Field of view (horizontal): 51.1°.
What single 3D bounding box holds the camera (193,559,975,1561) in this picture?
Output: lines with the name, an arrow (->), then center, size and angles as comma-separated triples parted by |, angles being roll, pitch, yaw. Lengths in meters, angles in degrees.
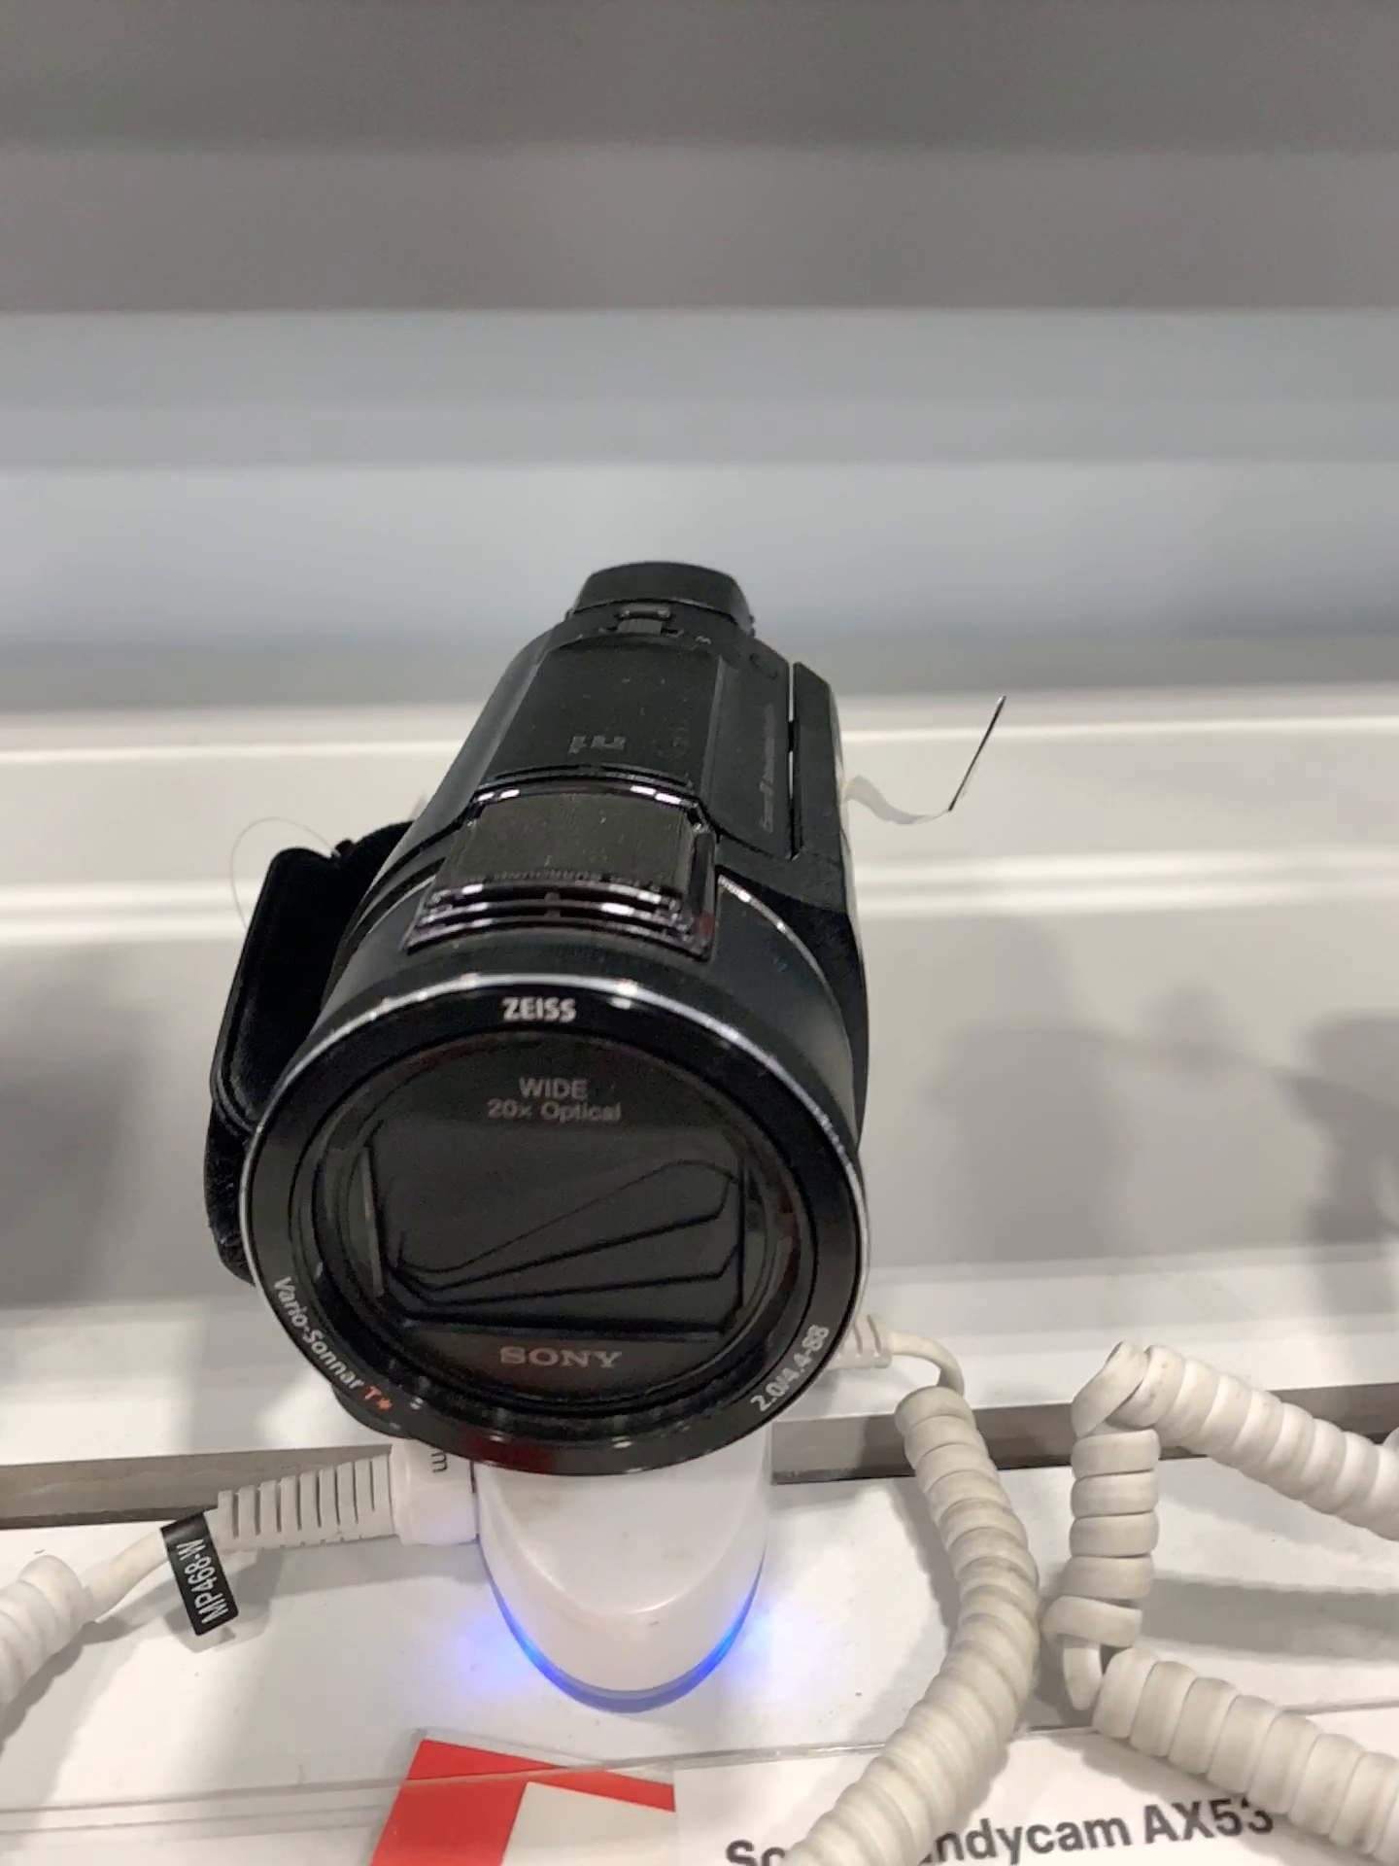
camera -> -0.007, 0.001, 0.213 | 0.070, 0.071, 0.151 | 2, 28, 2
